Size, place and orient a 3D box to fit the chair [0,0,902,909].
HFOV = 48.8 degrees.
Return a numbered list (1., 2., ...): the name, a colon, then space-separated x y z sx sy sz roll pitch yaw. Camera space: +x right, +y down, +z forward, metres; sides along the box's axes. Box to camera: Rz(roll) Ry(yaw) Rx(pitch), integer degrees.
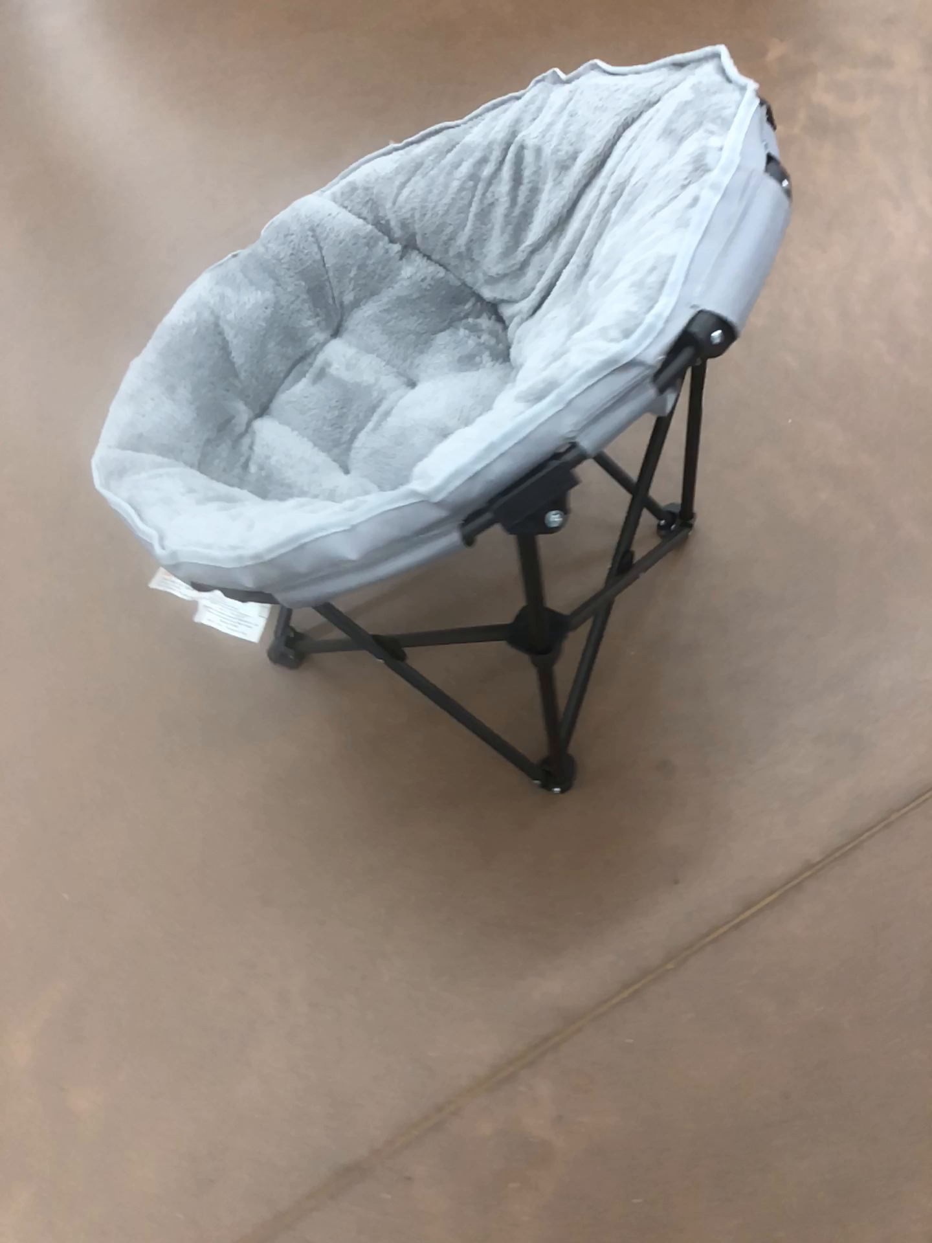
1. chair: -0.064 -0.199 0.928 0.630 0.529 0.571 19 64 18
